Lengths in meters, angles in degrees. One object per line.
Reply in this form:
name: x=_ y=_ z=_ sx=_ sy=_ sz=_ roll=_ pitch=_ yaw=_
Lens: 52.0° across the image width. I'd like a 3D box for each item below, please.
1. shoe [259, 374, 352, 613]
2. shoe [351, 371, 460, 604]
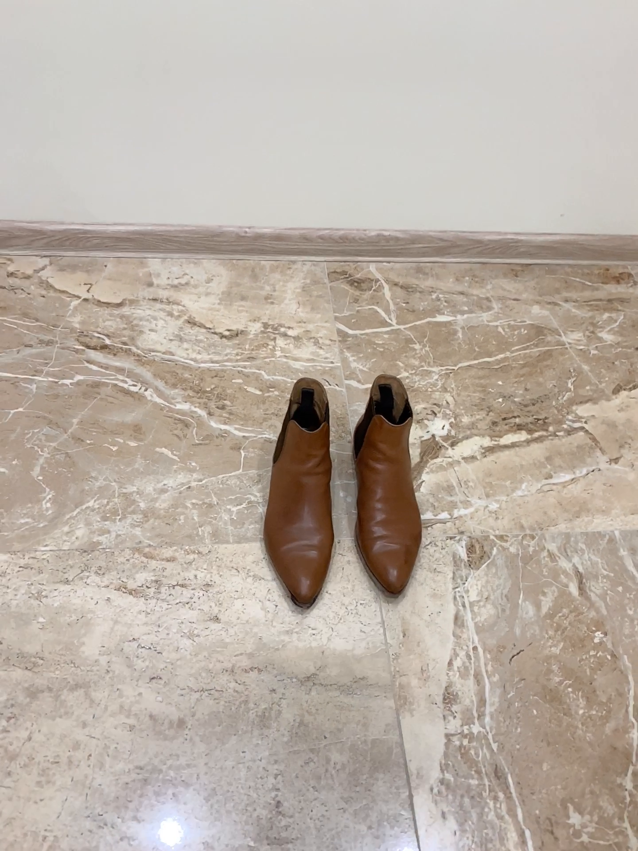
shoe: x=-0.024 y=0.075 z=0.775 sx=0.090 sy=0.129 sz=0.251 roll=1 pitch=49 yaw=-6
shoe: x=0.093 y=0.068 z=0.786 sx=0.090 sy=0.120 sz=0.251 roll=4 pitch=49 yaw=-4
